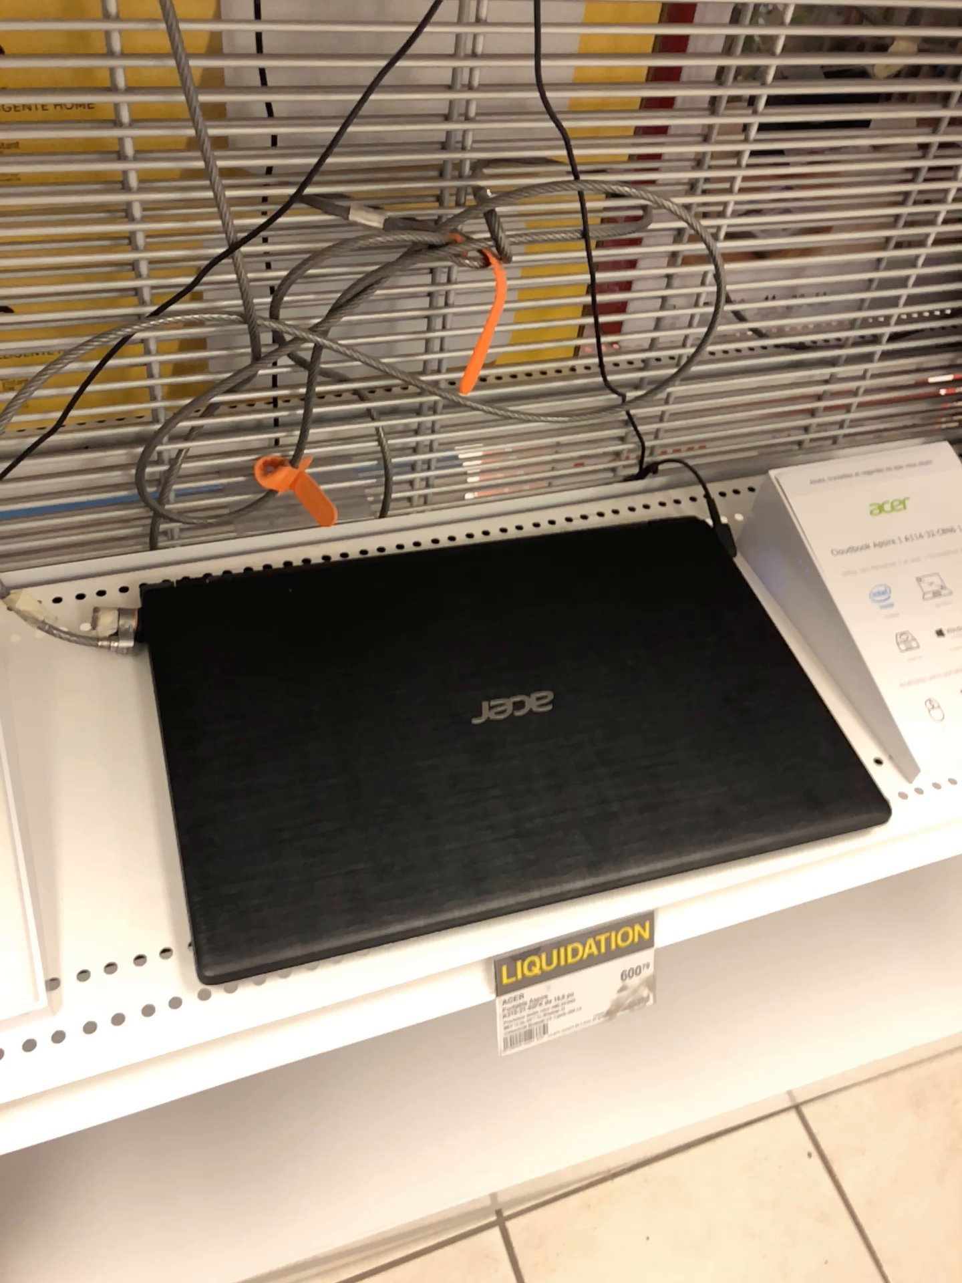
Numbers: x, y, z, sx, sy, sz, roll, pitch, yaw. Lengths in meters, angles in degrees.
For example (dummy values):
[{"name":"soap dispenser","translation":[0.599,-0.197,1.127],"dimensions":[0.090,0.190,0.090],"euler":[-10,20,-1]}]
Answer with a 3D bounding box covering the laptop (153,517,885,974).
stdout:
[{"name":"laptop","translation":[0.015,0.031,0.616],"dimensions":[0.374,0.003,0.248],"euler":[-9,50,-18]}]
